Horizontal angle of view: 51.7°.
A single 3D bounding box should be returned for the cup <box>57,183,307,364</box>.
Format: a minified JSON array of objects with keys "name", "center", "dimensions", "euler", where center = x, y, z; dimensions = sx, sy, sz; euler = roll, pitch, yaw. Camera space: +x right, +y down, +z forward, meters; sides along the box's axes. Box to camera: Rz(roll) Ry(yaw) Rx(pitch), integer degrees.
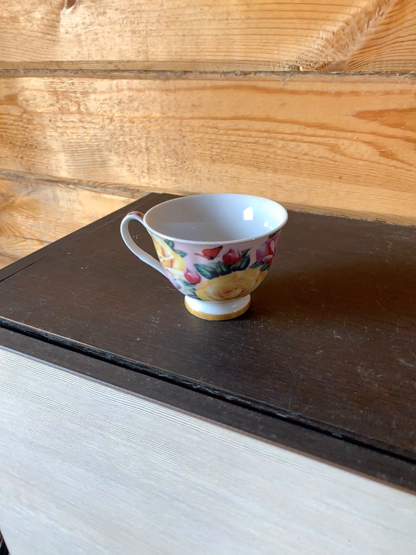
[{"name":"cup","center":[-0.011,-0.014,0.277],"dimensions":[0.120,0.060,0.101],"euler":[12,29,23]}]
